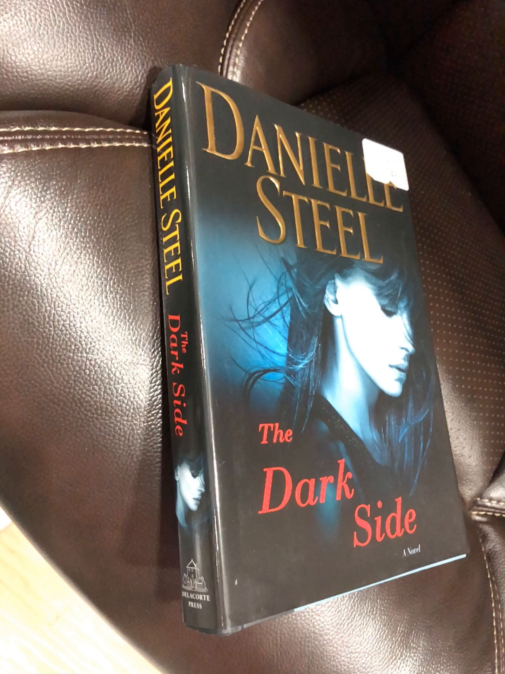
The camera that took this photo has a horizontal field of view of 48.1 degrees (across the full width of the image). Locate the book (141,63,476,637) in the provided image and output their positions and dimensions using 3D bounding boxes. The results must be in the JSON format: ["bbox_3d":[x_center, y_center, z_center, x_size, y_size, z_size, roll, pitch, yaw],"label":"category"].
[{"bbox_3d":[0.033,0.002,0.296,0.169,0.040,0.237,4,76,-38],"label":"book"}]
